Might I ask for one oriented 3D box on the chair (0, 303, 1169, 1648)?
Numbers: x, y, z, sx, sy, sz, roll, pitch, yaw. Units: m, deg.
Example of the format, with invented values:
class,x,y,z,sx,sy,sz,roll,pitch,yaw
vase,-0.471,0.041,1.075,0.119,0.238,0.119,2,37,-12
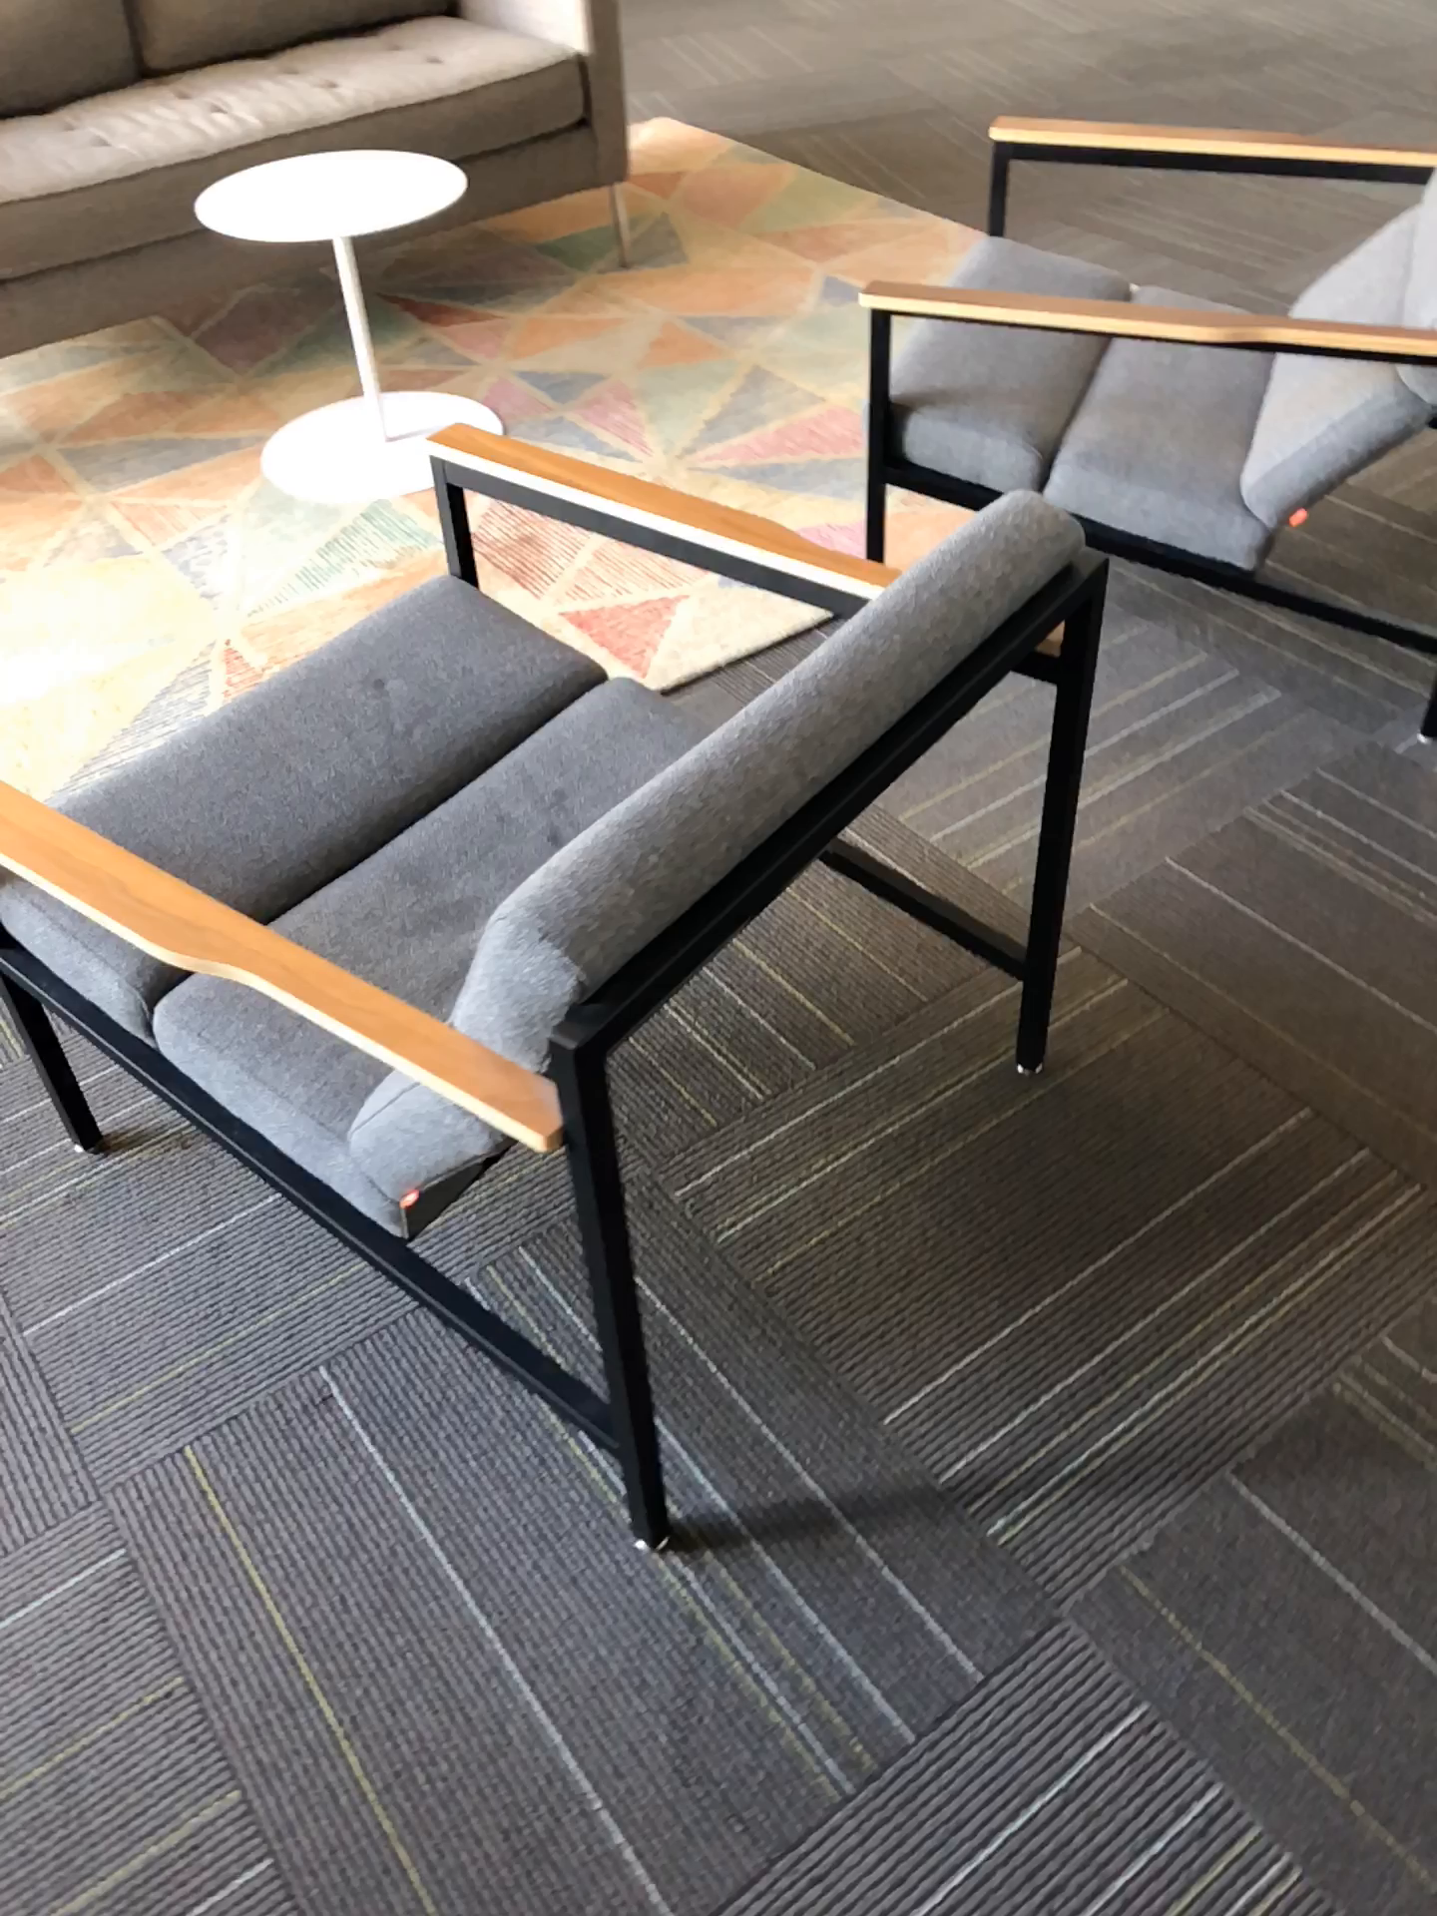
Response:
class,x,y,z,sx,sy,sz,roll,pitch,yaw
chair,-0.205,-0.080,1.518,0.922,0.697,0.792,22,48,29
